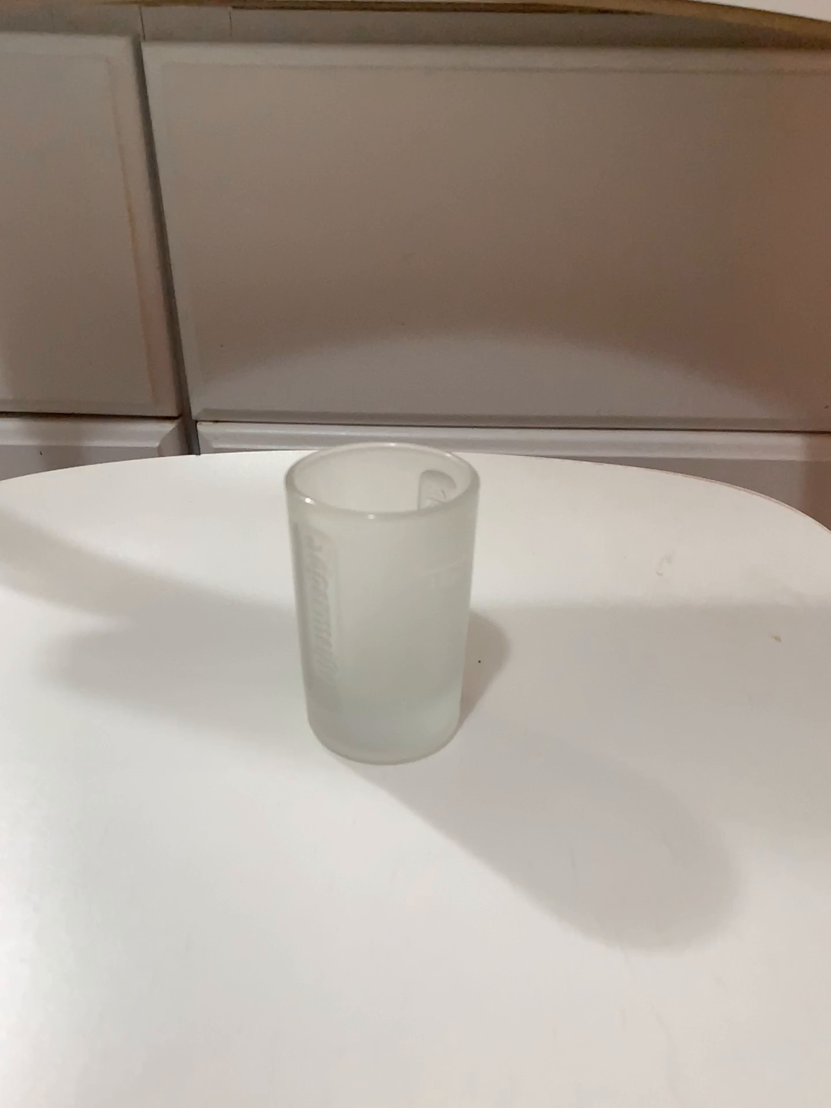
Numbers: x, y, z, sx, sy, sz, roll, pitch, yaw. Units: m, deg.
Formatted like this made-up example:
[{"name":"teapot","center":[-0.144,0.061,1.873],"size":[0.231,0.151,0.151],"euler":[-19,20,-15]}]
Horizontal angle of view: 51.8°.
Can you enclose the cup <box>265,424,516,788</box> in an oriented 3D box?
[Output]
[{"name":"cup","center":[-0.005,0.012,0.205],"size":[0.049,0.075,0.042],"euler":[-1,29,0]}]
